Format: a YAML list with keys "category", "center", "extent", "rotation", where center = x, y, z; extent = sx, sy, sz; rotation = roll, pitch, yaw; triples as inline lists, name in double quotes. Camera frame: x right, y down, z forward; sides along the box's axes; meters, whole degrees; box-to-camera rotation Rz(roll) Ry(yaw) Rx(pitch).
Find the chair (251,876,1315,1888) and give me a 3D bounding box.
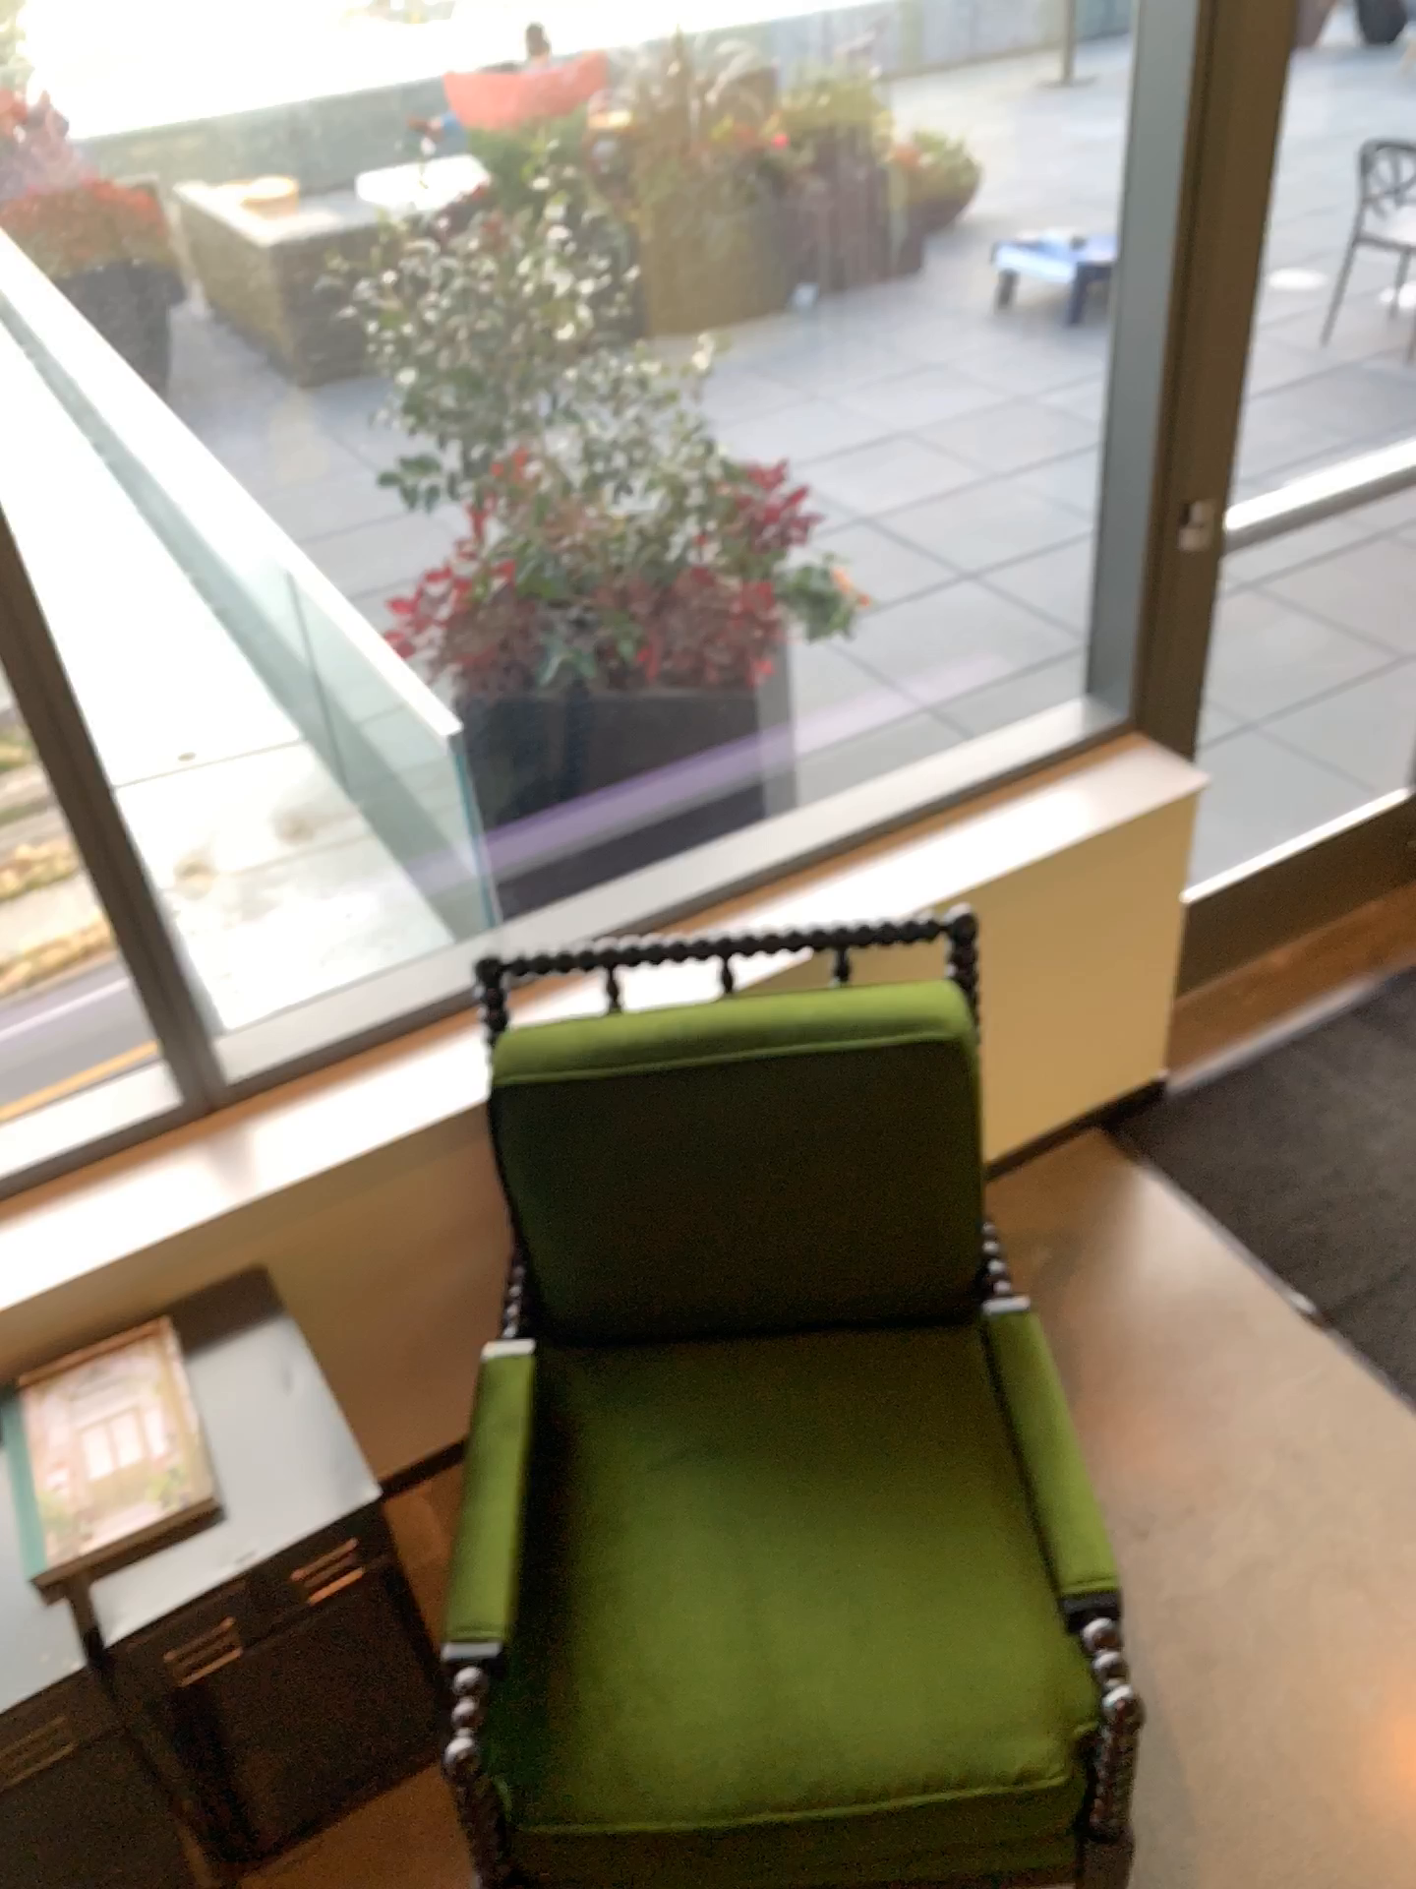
- category: "chair"
  center: [0.081, 0.602, 1.853]
  extent: [0.870, 0.925, 0.945]
  rotation: [-5, 38, 2]
